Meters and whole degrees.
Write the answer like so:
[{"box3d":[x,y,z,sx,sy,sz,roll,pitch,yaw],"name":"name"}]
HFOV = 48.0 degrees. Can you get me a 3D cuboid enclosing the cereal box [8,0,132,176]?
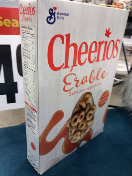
[{"box3d":[0.021,-0.004,0.279,0.210,0.269,0.060,-18,32,-39],"name":"cereal box"}]
